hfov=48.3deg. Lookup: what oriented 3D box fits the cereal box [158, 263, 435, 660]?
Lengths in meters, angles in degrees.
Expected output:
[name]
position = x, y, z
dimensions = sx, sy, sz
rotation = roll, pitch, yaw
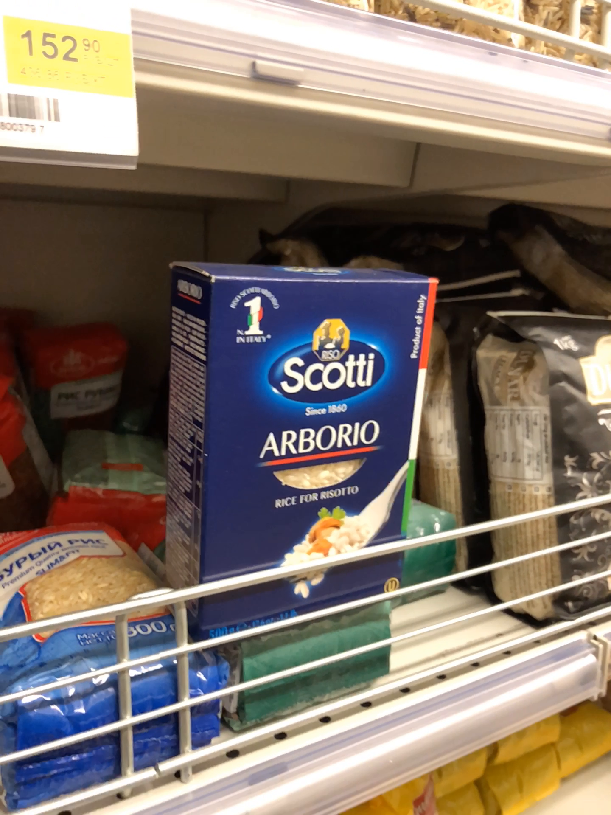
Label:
[cereal box]
position = -0.006, 0.017, 0.316
dimensions = 0.110, 0.159, 0.050
rotation = -6, 17, -32
